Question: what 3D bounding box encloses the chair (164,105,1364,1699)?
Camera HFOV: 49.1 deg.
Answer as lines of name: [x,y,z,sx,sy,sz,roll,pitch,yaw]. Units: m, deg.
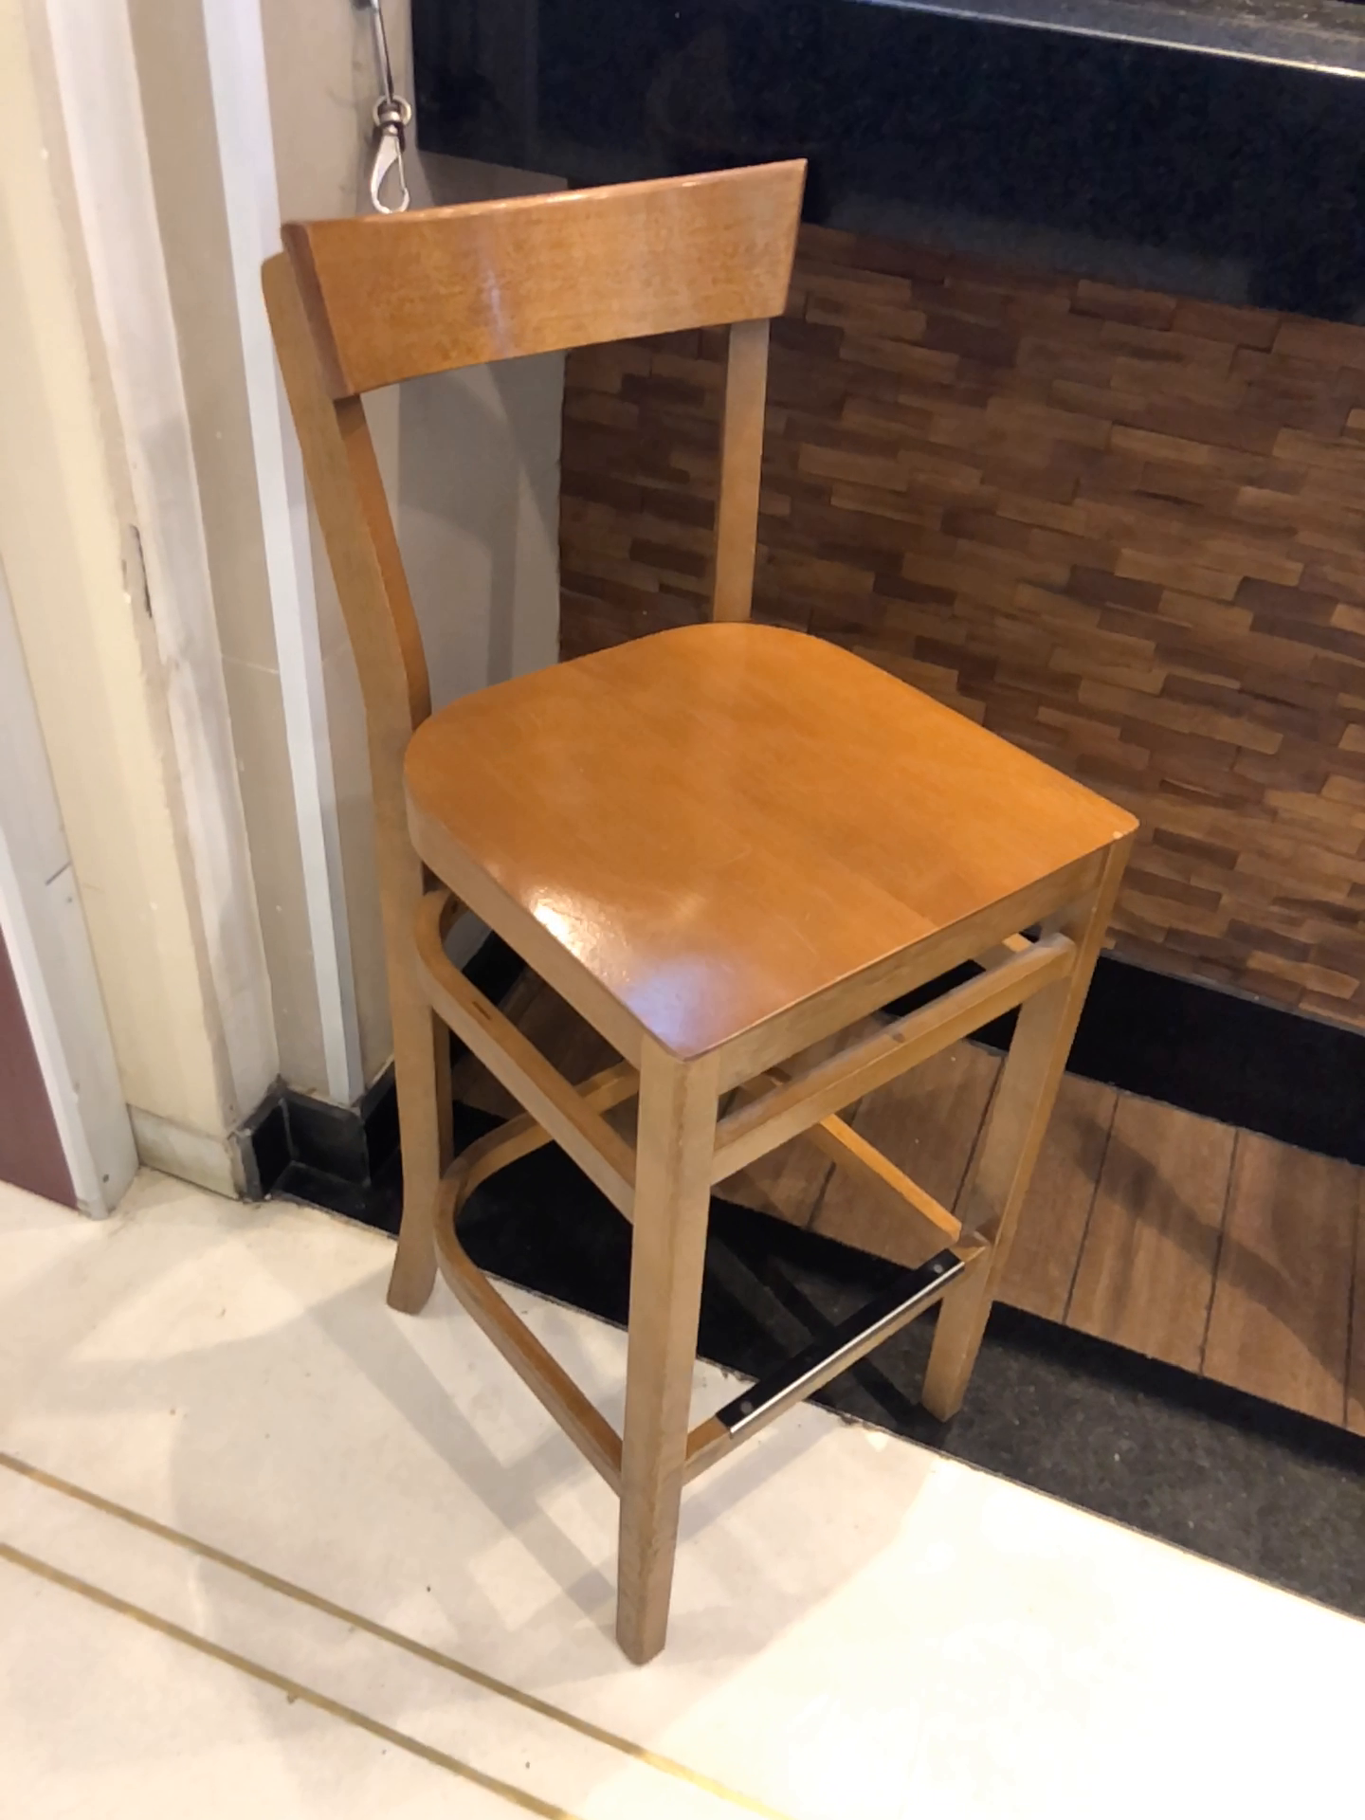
chair: [0.021,0.015,1.145,0.482,0.992,0.532,-26,49,-33]
